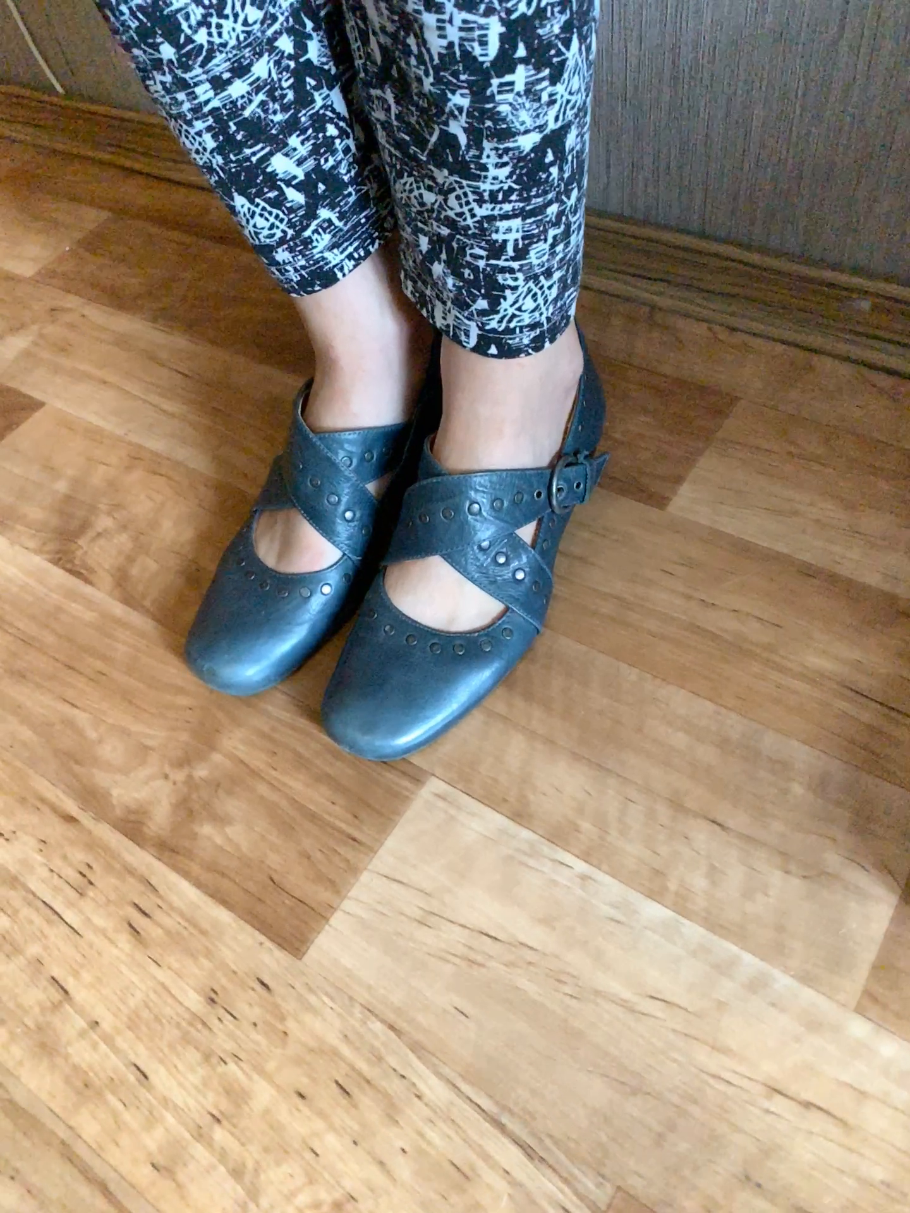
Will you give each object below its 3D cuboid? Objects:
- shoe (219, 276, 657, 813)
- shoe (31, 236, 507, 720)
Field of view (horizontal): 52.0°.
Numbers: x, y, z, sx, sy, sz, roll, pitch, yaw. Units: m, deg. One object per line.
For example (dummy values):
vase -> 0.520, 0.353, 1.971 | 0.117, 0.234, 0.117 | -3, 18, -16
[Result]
shoe -> 0.009, -0.042, 0.463 | 0.090, 0.100, 0.250 | 20, 58, 22
shoe -> -0.078, -0.076, 0.488 | 0.090, 0.100, 0.240 | 25, 60, 25
